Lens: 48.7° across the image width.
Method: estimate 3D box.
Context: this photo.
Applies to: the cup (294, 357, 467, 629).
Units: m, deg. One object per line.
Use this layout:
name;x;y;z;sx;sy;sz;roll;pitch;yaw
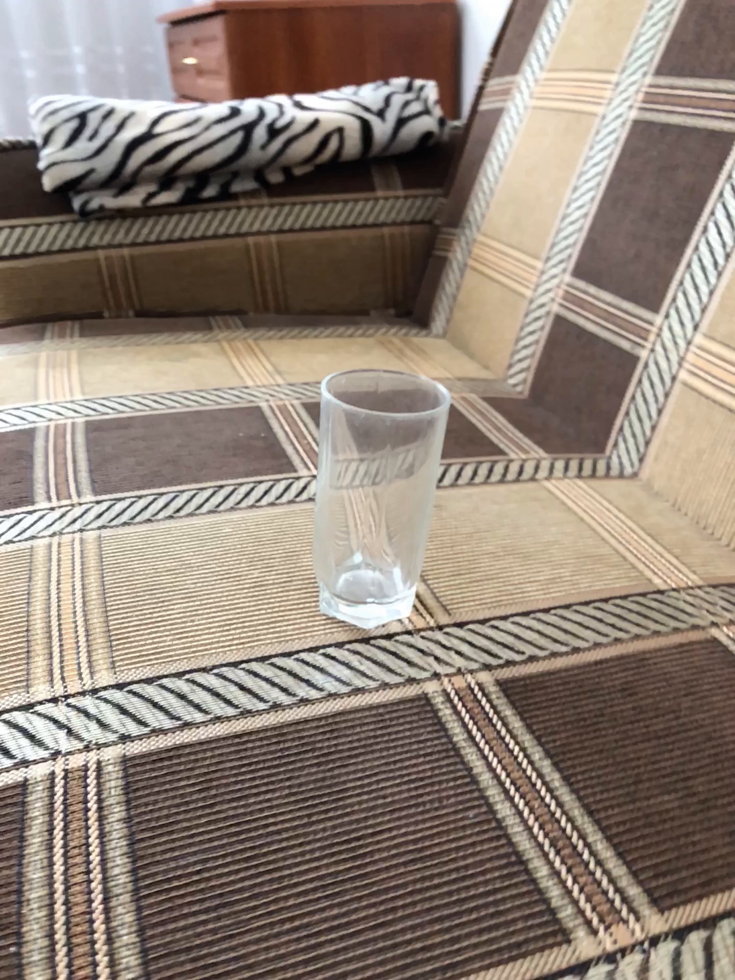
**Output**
cup;0.001;0.002;0.459;0.075;0.130;0.077;5;27;-2
